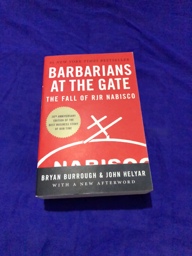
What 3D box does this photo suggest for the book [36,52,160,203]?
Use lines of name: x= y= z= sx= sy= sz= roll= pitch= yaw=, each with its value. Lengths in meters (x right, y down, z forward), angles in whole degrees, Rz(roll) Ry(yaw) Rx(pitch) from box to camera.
book: x=-0.002 y=-0.008 z=0.307 sx=0.140 sy=0.050 sz=0.210 roll=-2 pitch=66 yaw=-2
